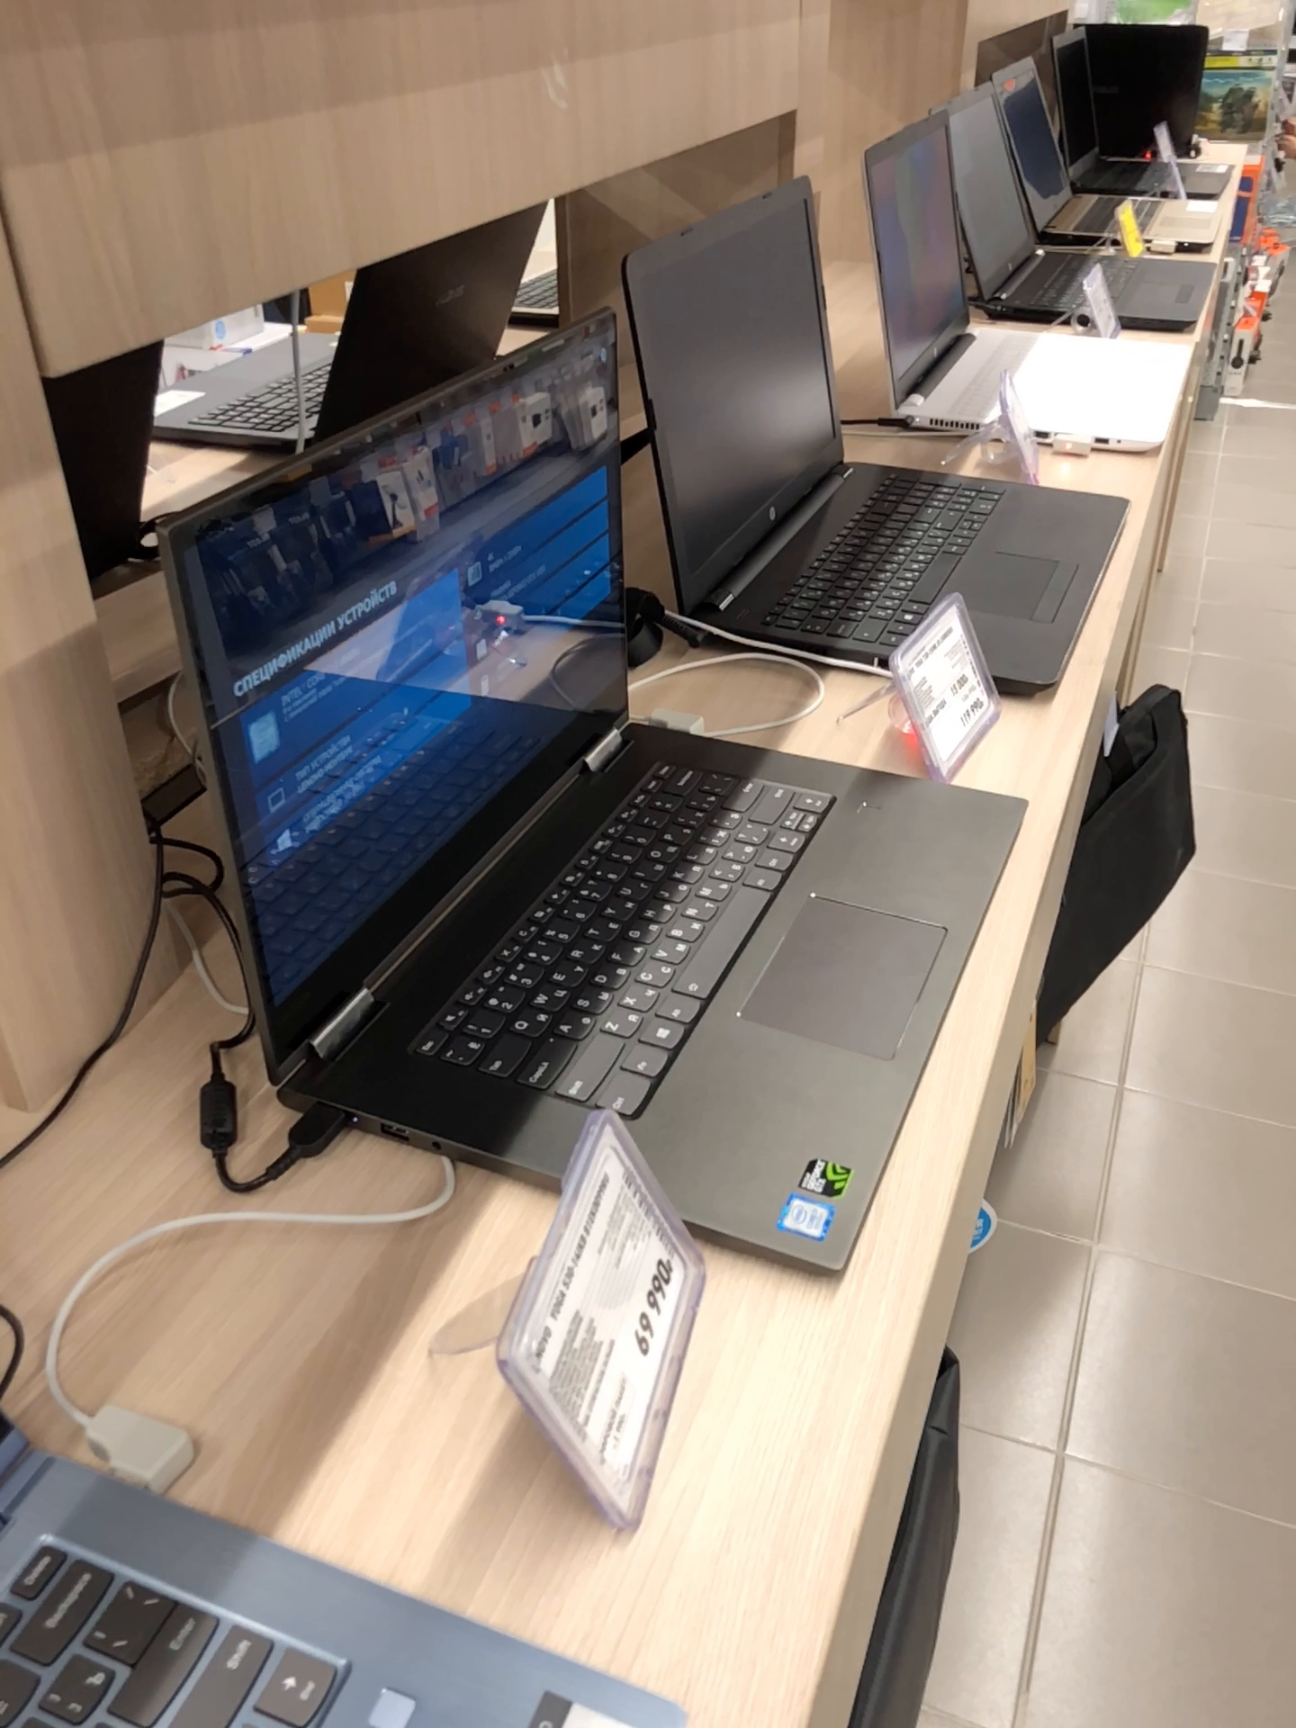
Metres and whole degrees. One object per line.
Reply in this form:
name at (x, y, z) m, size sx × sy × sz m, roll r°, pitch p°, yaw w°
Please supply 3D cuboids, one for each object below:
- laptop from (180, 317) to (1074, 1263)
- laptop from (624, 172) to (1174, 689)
laptop at (0.023, -0.074, 0.652) m, size 0.252 × 0.240 × 0.360 m, roll 13°, pitch 35°, yaw 20°
laptop at (0.179, -0.337, 1.029) m, size 0.308 × 0.238 × 0.307 m, roll 14°, pitch 38°, yaw 26°
